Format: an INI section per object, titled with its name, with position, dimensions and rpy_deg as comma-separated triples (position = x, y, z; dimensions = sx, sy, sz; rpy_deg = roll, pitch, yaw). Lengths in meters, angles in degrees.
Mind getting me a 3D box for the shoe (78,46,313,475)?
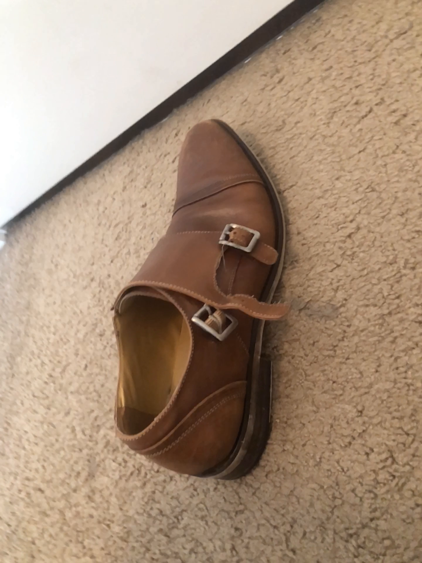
[shoe]
position = -0.006, -0.012, 0.350
dimensions = 0.100, 0.107, 0.286
rpy_deg = -20, 58, 39
